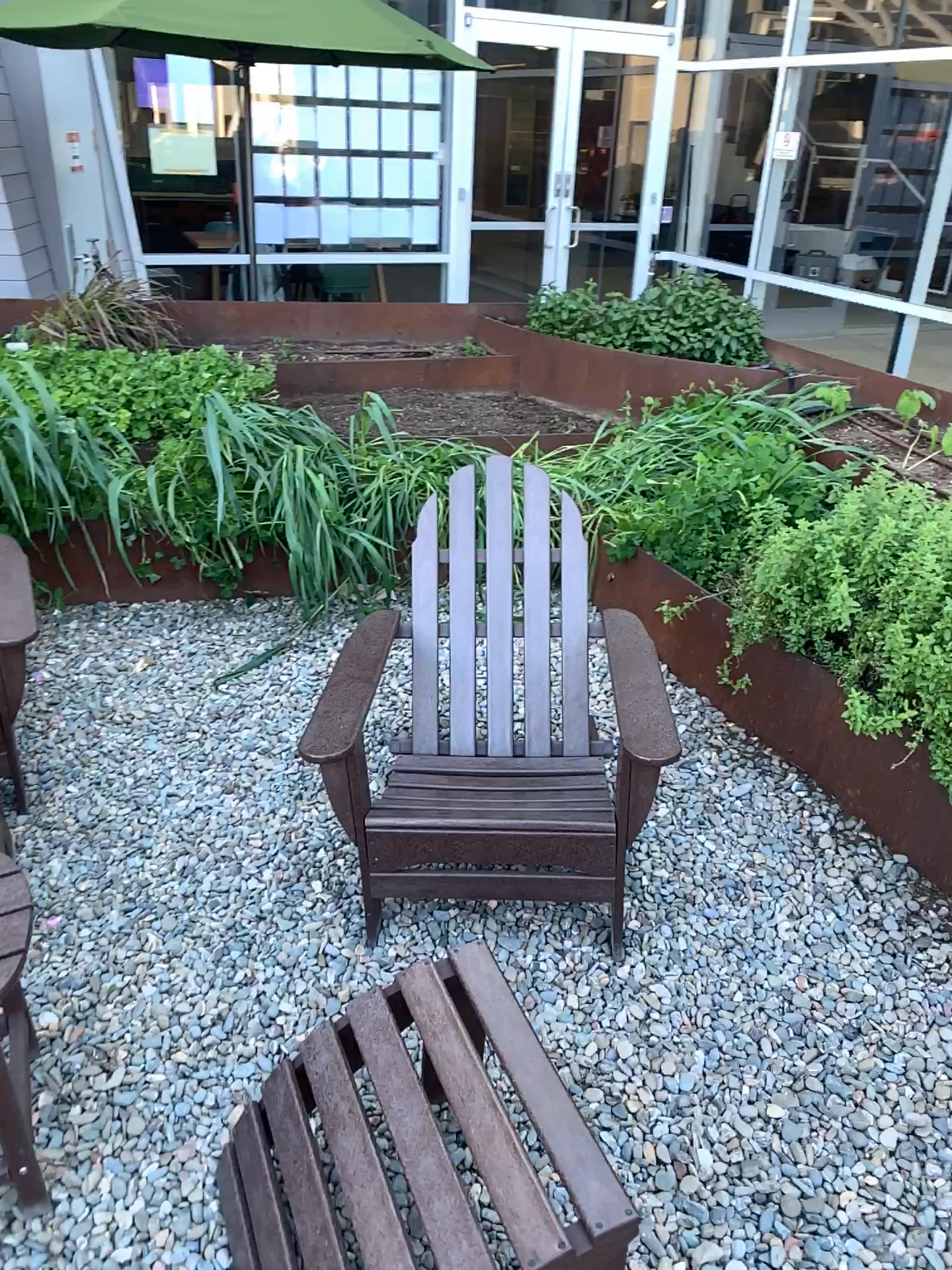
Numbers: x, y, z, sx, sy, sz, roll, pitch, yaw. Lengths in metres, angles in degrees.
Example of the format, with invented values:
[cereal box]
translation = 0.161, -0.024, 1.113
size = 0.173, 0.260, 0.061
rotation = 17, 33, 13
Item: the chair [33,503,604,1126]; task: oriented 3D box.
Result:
[chair]
translation = -0.293, 0.358, 2.488
size = 1.001, 0.994, 1.005
rotation = 9, 28, 12
